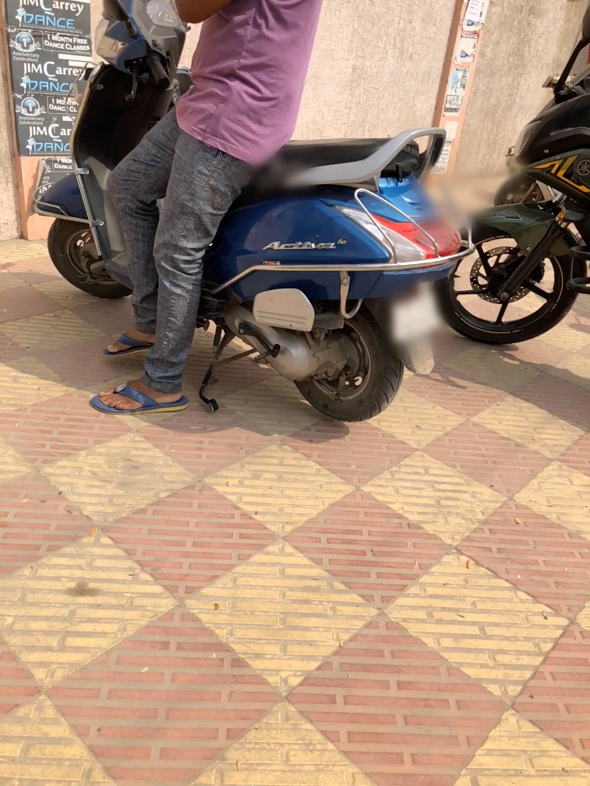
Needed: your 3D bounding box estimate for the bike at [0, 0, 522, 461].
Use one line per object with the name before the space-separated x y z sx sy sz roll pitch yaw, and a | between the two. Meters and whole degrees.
bike | -0.299 -0.669 2.174 1.700 1.037 0.626 24 33 30
